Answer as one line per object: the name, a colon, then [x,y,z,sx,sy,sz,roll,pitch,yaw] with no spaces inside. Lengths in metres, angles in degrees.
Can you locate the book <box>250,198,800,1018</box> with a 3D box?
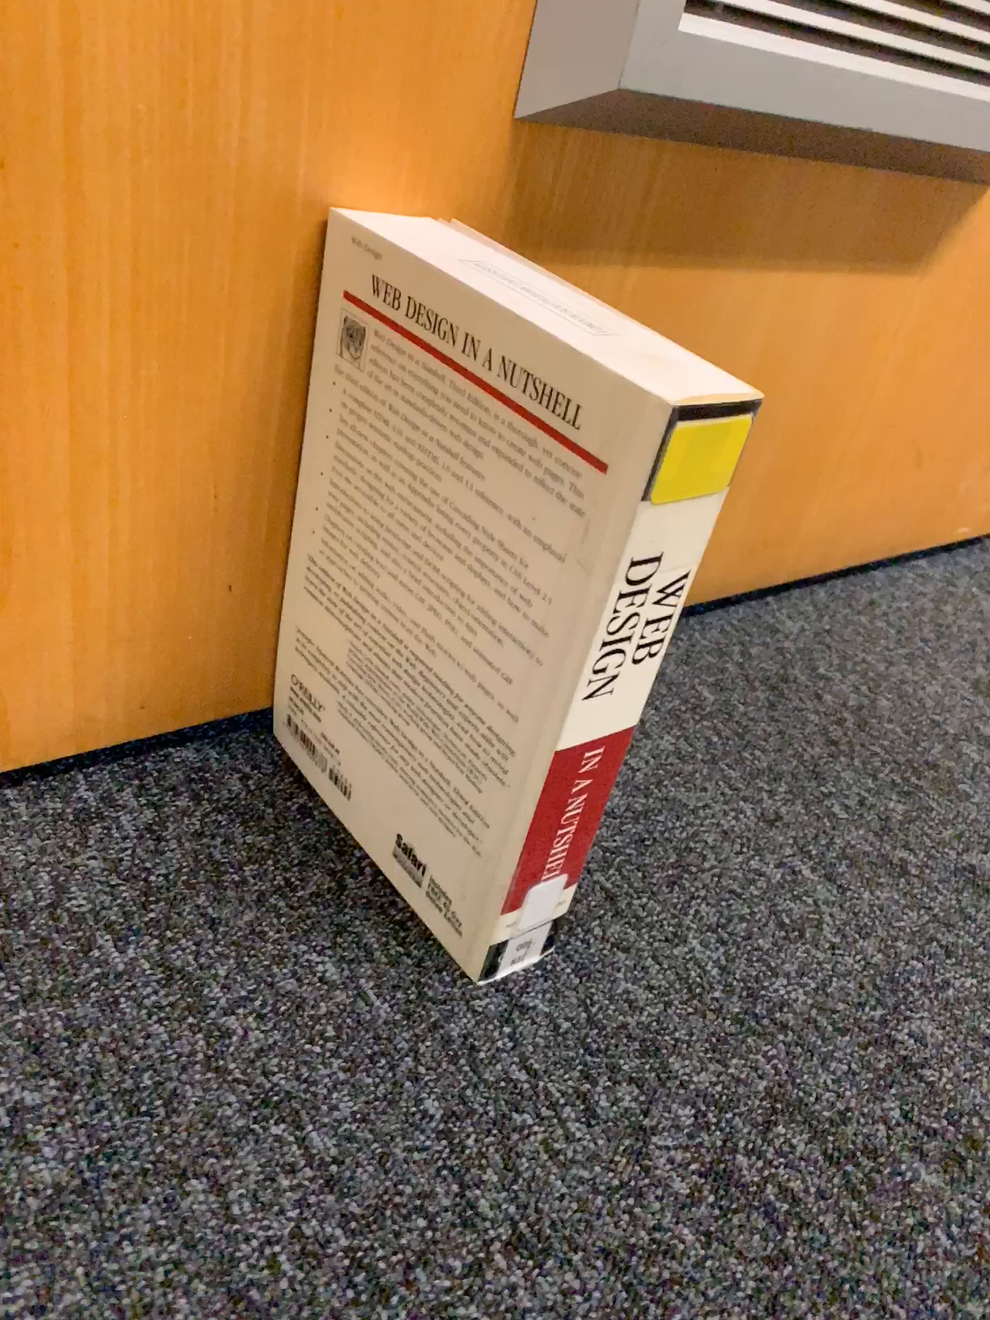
book: [-0.015,-0.018,0.364,0.050,0.228,0.171,-16,44,-38]
